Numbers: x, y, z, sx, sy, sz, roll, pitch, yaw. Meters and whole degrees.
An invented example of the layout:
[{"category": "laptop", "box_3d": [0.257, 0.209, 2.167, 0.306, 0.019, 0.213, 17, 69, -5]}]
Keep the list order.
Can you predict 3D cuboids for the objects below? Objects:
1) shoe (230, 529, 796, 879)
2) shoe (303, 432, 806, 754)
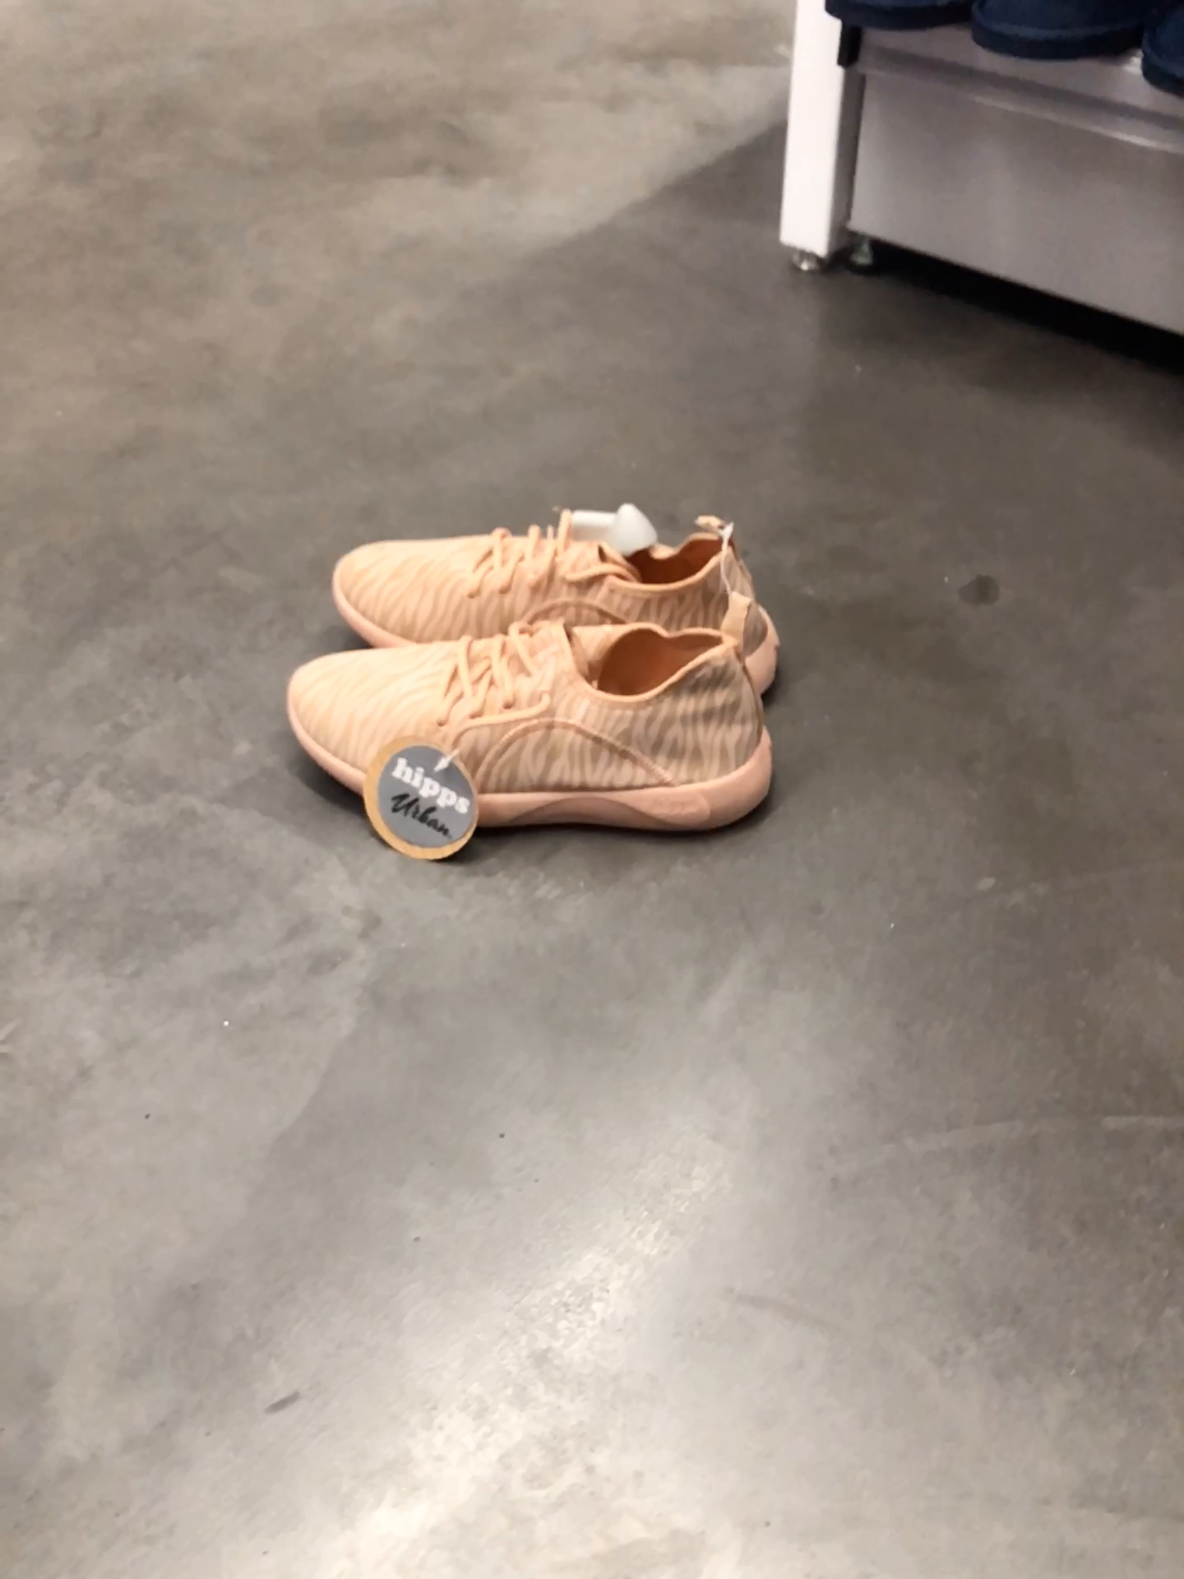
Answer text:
[{"category": "shoe", "box_3d": [-0.029, -0.041, 0.603, 0.230, 0.100, 0.101, 6, 47, 8]}, {"category": "shoe", "box_3d": [-0.014, -0.104, 0.680, 0.230, 0.100, 0.101, 8, 48, 10]}]
